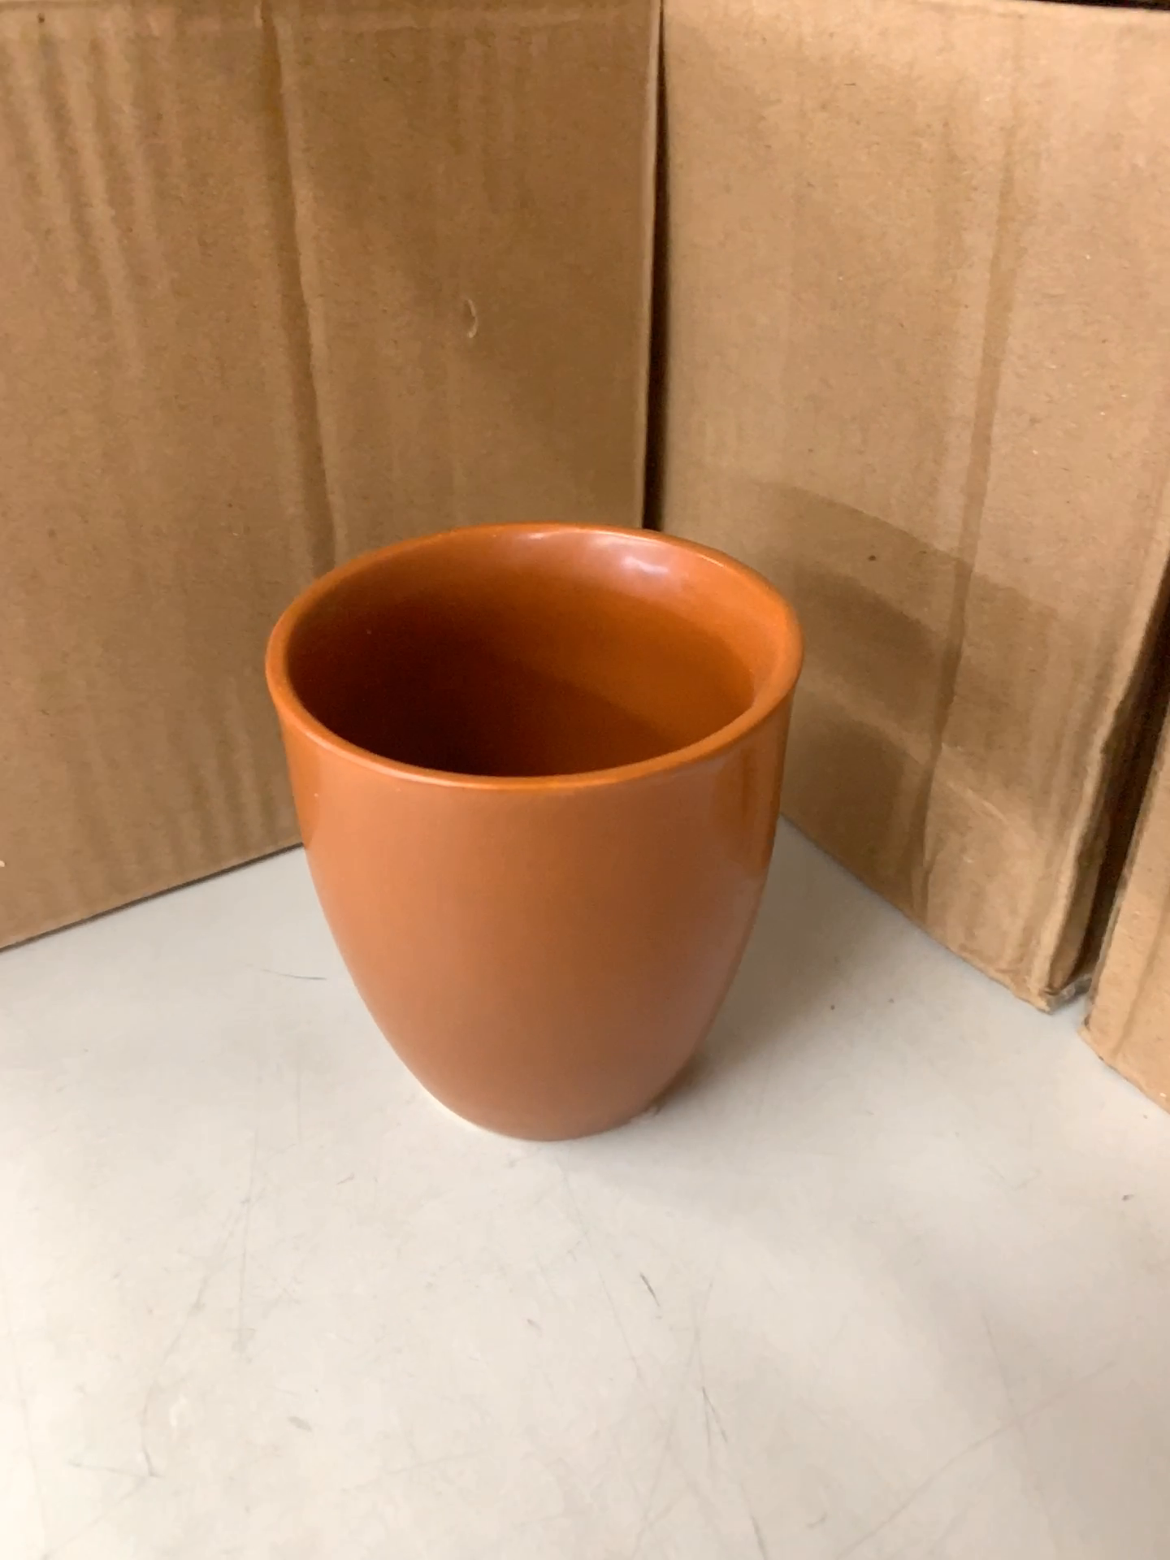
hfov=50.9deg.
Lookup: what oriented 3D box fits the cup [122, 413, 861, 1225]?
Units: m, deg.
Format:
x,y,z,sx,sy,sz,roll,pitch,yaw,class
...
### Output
x,y,z,sx,sy,sz,roll,pitch,yaw,class
-0.006,0.001,0.180,0.070,0.079,0.070,-2,37,1,cup
